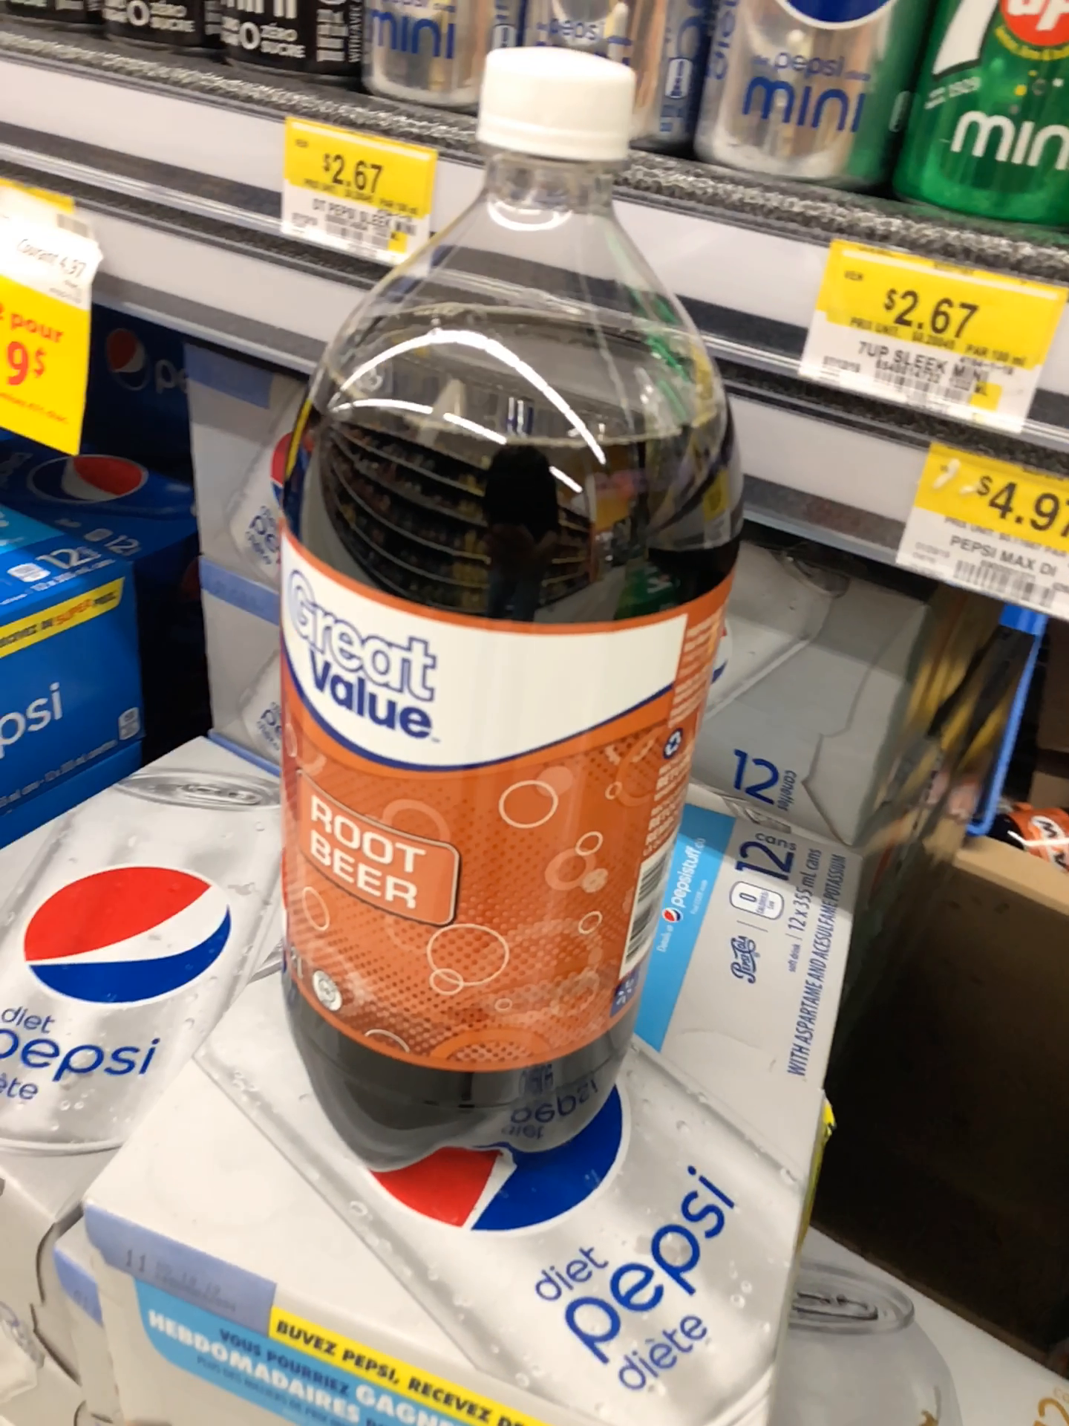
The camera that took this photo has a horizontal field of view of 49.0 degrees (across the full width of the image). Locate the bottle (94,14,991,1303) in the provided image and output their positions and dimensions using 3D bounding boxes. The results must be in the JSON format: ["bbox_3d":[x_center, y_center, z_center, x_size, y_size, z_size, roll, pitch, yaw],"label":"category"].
[{"bbox_3d":[-0.005,-0.011,0.291,0.120,0.268,0.121,4,33,-3],"label":"bottle"}]
